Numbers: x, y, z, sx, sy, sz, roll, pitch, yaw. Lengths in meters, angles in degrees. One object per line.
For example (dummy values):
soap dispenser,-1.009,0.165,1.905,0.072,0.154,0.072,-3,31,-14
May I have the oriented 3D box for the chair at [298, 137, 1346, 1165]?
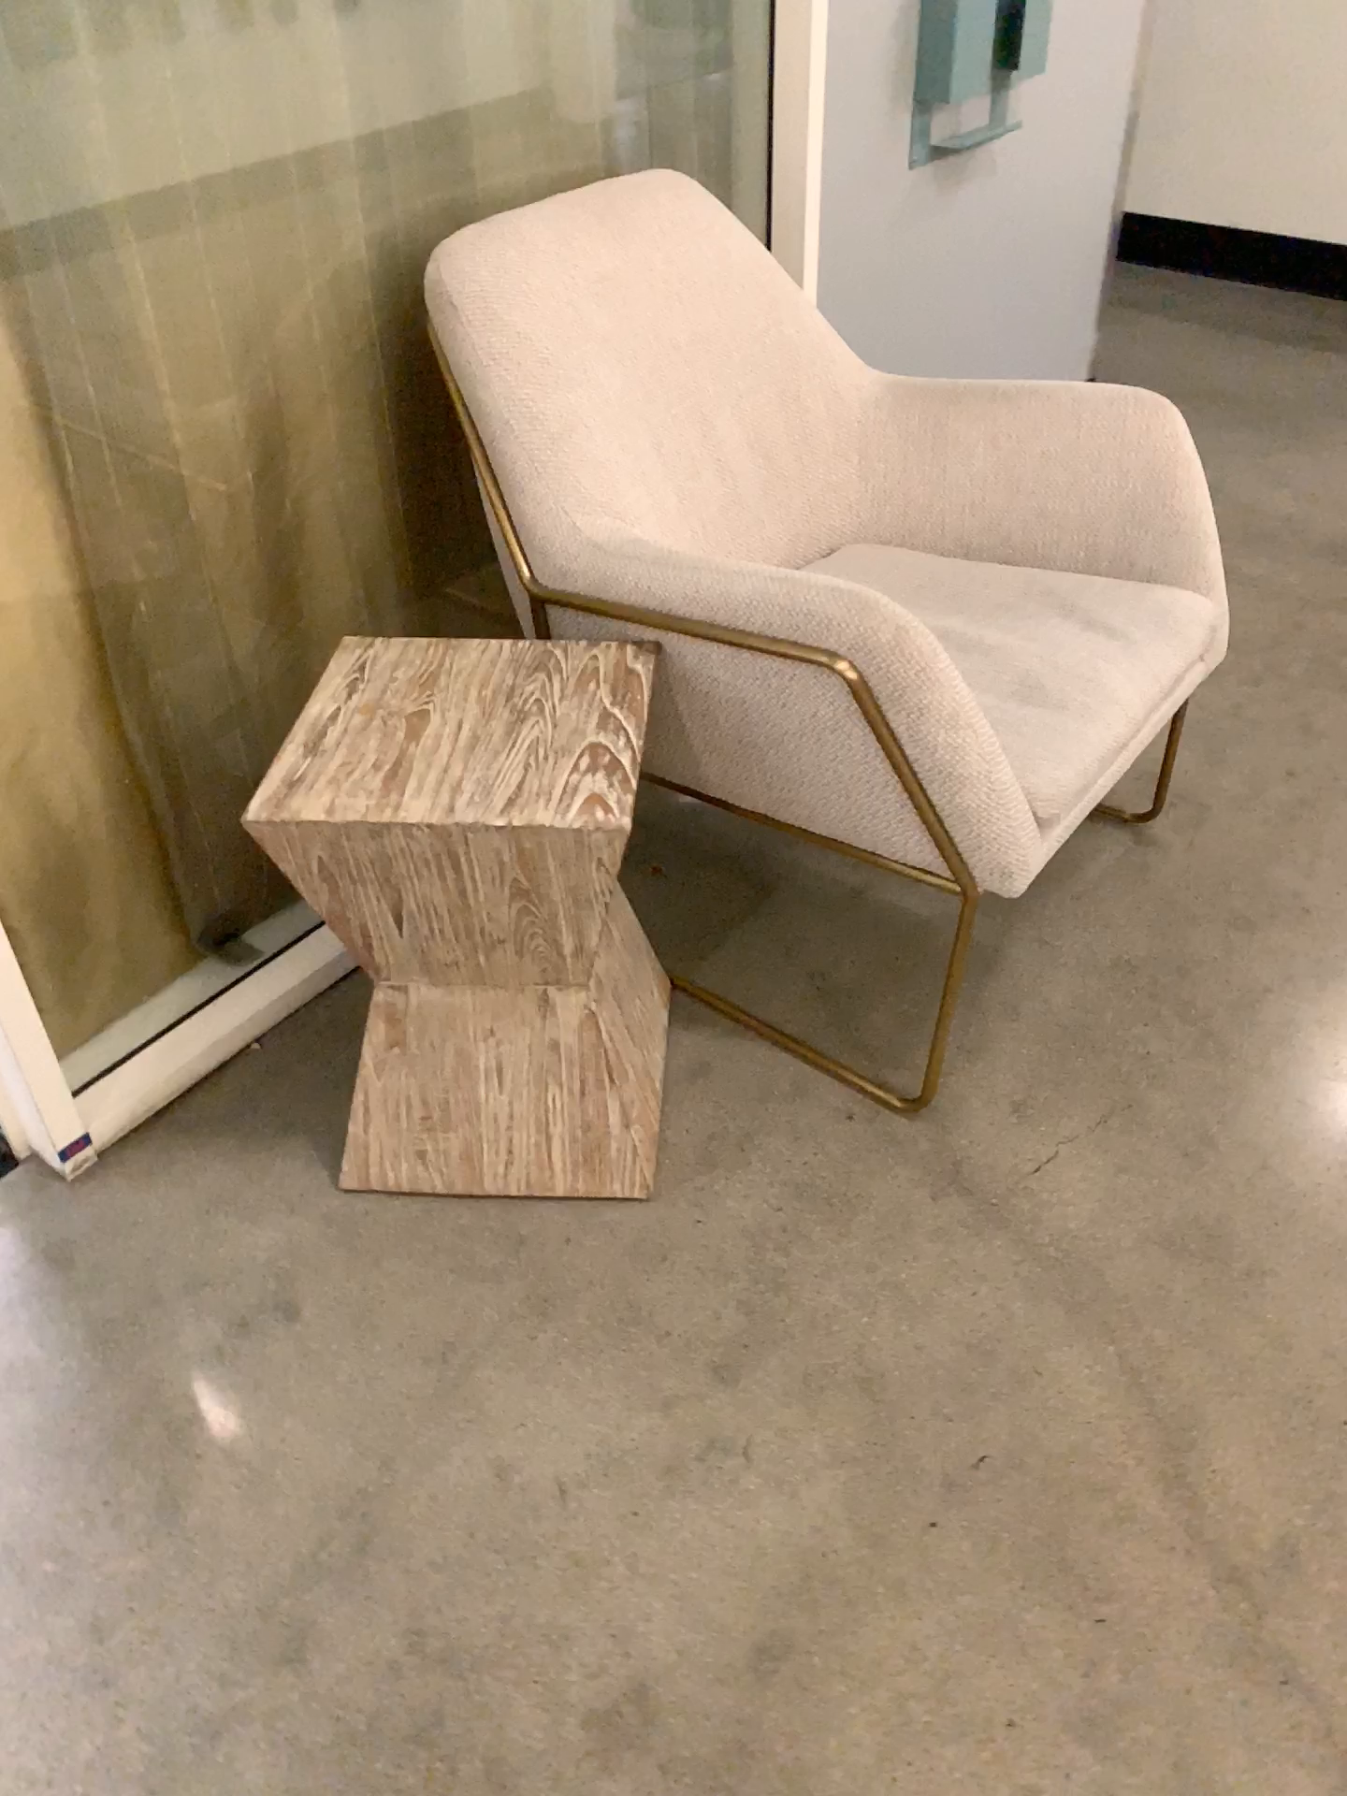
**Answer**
chair,0.199,-0.378,1.684,0.883,0.815,0.752,23,44,28
